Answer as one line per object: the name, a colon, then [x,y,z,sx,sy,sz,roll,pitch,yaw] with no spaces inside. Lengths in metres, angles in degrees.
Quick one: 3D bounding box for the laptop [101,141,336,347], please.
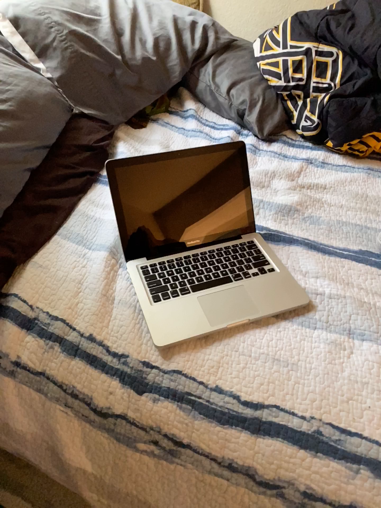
laptop: [0.030,-0.047,0.777,0.320,0.165,0.347,-13,47,-17]
